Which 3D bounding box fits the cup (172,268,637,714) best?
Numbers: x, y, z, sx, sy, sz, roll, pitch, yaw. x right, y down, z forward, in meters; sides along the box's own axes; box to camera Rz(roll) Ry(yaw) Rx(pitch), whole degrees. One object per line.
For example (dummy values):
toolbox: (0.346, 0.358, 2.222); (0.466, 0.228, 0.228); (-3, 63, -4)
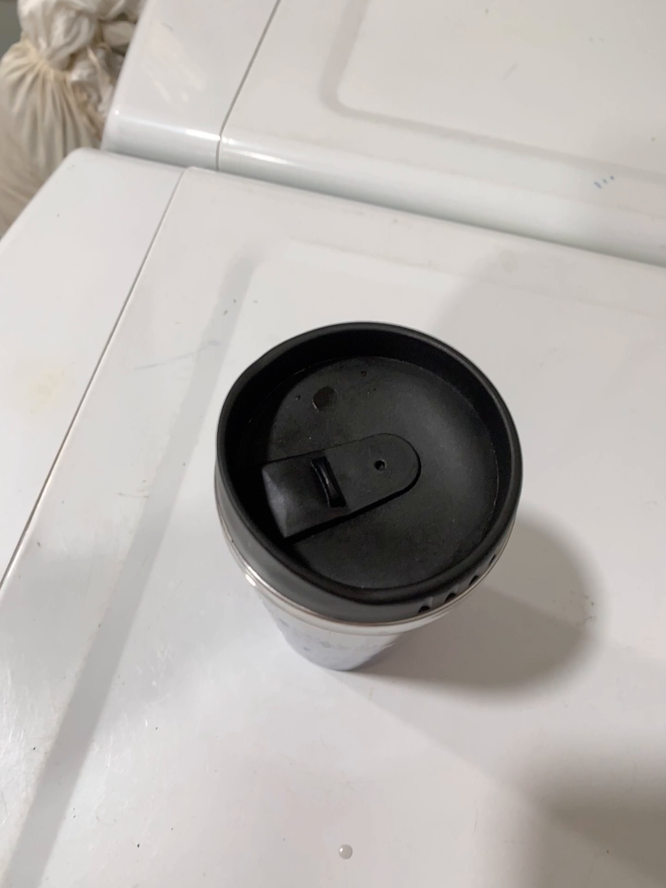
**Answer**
cup: (0.009, 0.034, 0.240); (0.089, 0.172, 0.080); (-13, 66, -9)
